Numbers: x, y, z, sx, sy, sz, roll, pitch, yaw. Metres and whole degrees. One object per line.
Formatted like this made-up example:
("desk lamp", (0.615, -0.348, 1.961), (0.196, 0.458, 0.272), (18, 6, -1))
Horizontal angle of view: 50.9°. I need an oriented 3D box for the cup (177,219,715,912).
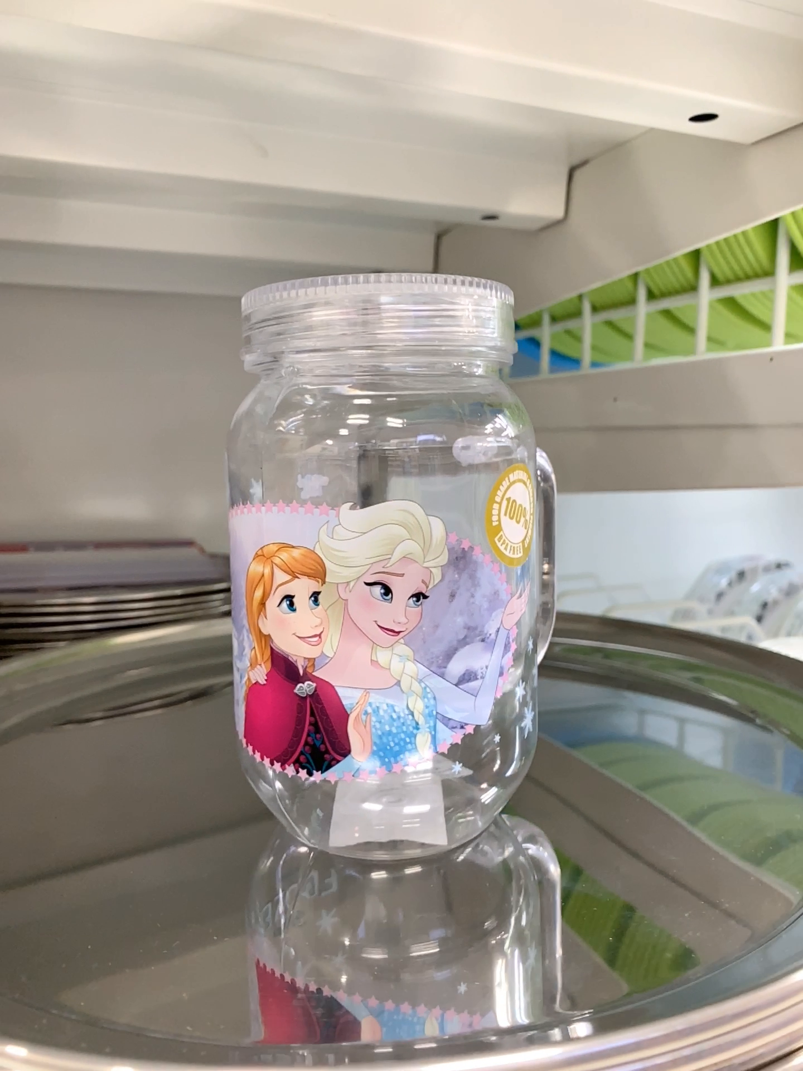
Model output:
("cup", (0.015, 0.000, 0.221), (0.120, 0.130, 0.070), (-5, 7, -37))
